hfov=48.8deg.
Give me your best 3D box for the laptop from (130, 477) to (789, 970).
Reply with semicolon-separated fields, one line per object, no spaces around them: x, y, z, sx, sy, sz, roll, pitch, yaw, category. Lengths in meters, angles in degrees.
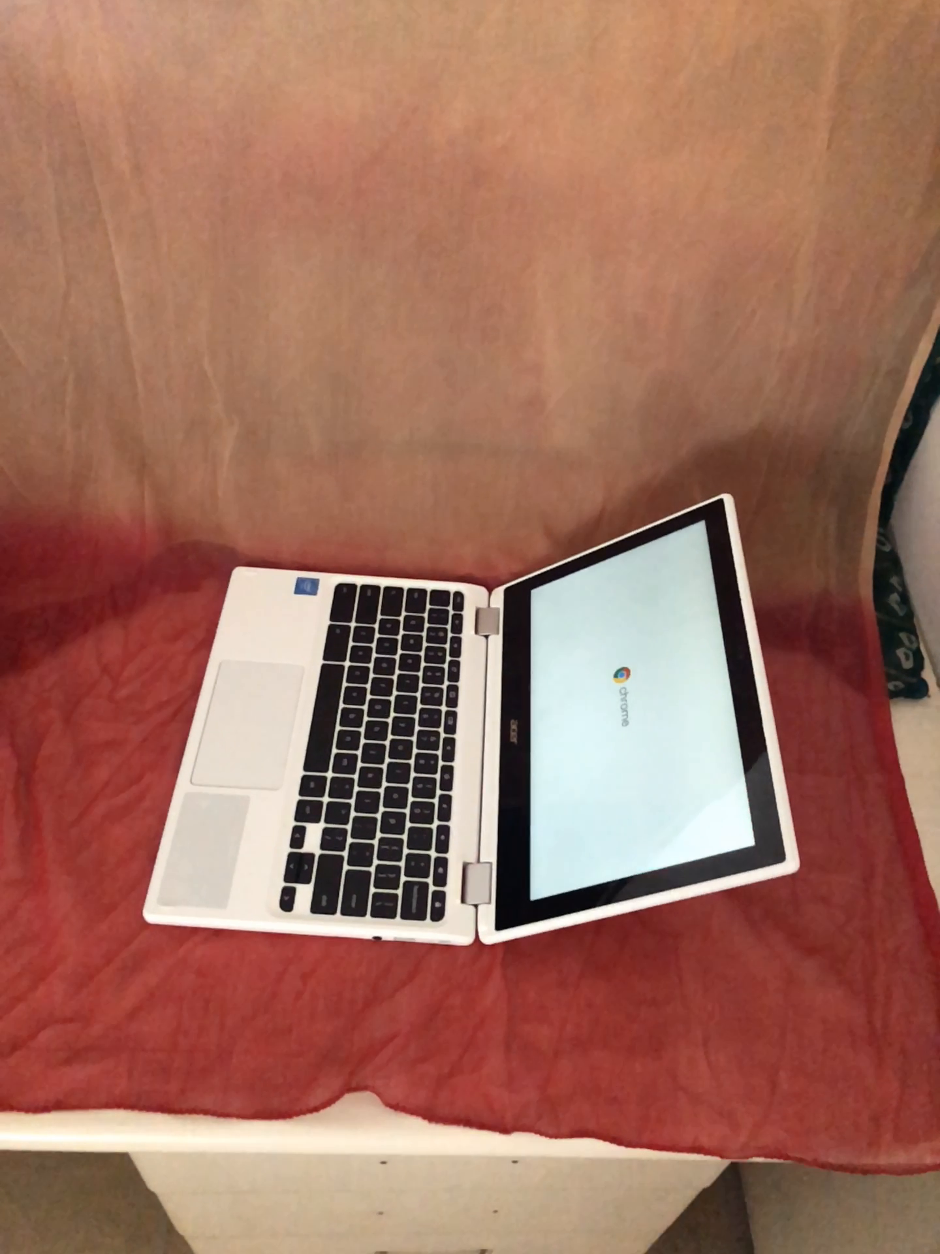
-0.004;0.051;0.657;0.337;0.113;0.264;5;49;-1;laptop
